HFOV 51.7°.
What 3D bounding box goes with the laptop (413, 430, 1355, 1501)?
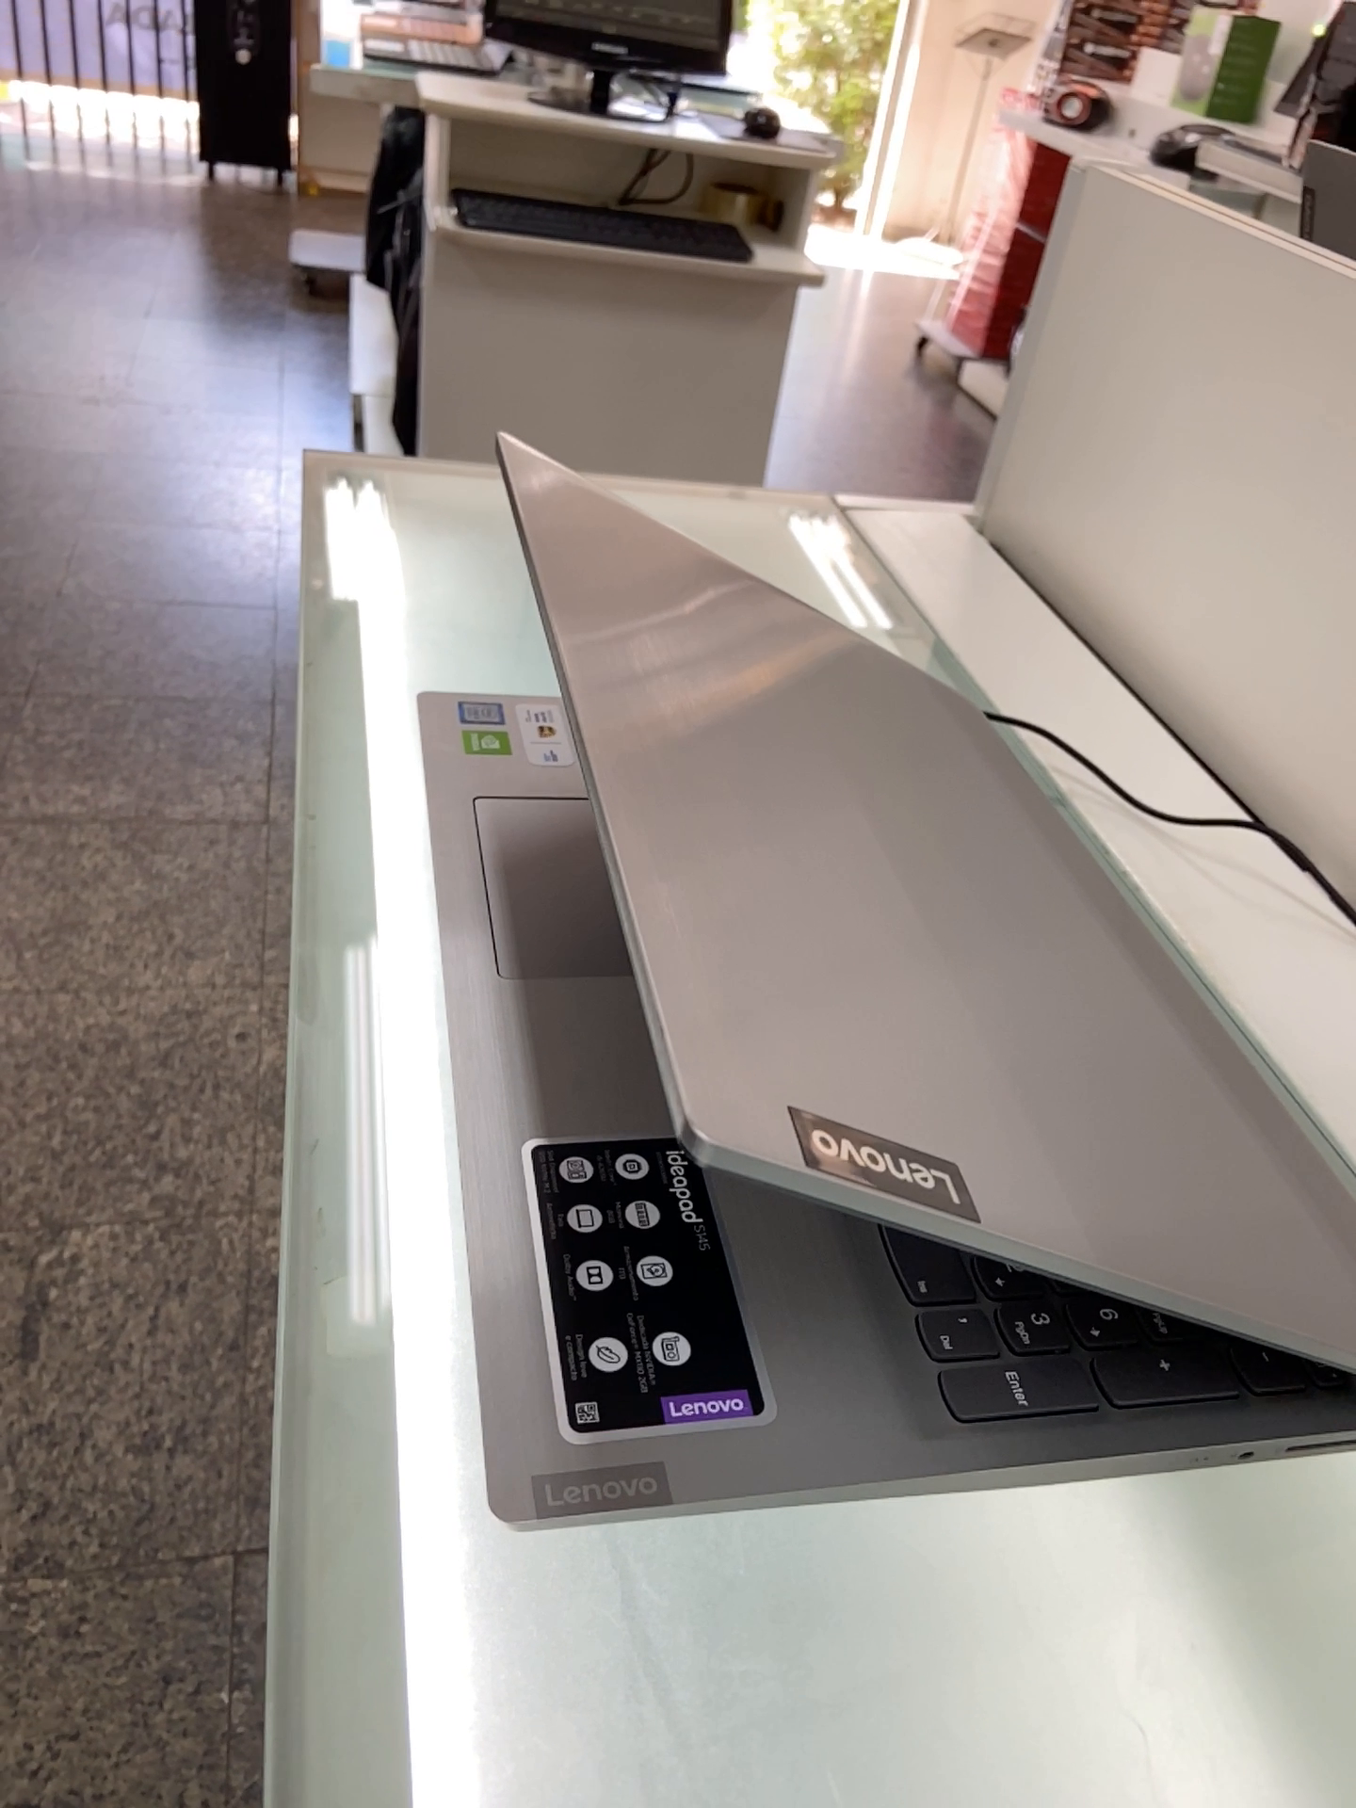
[{"bbox_3d":[0.051,-0.025,0.426,0.239,0.104,0.355,0,36,-14],"label":"laptop"}]
